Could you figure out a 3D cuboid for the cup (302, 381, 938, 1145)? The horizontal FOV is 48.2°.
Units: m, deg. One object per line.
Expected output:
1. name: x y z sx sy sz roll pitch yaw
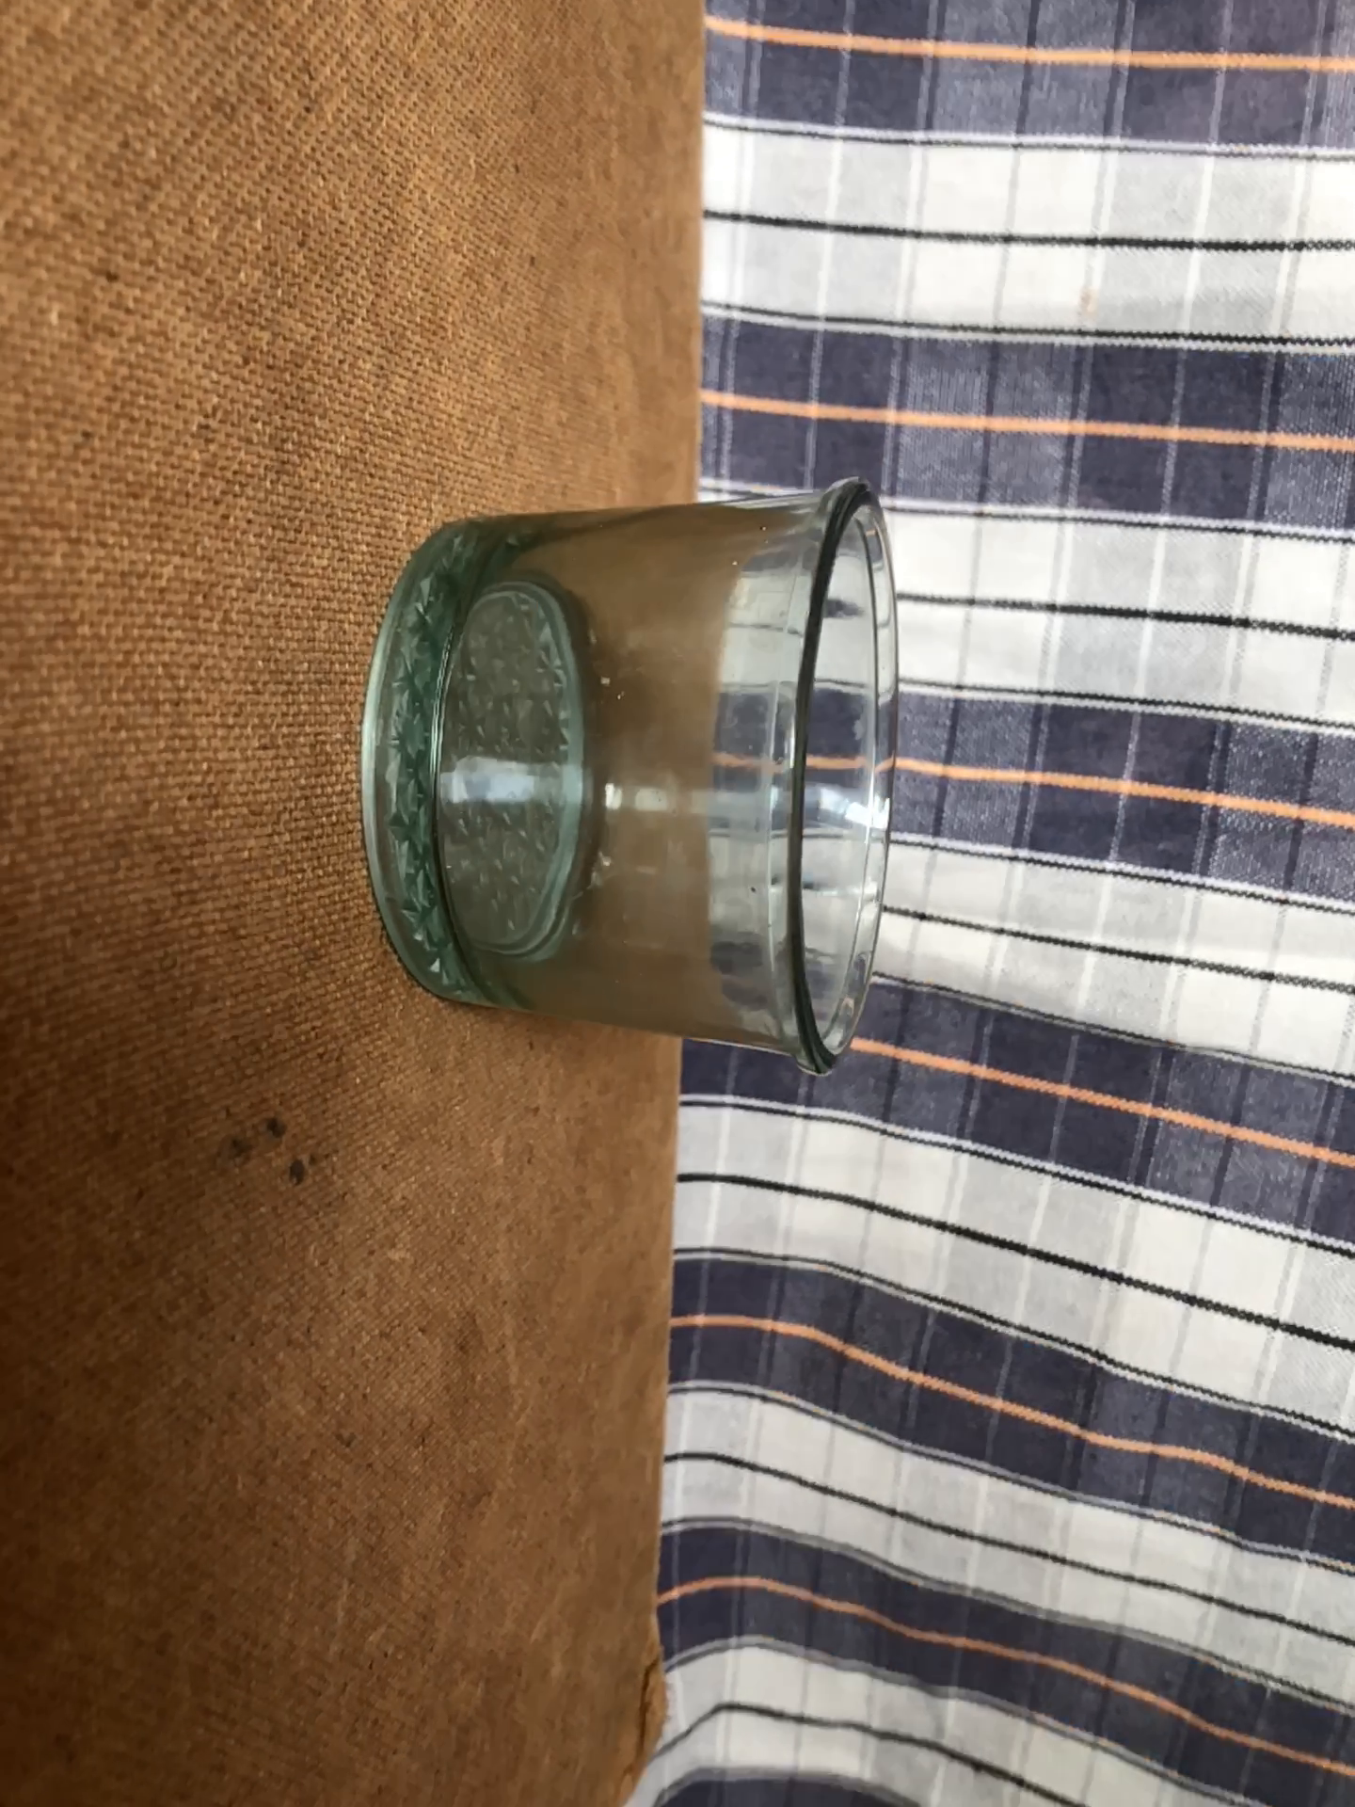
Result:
1. cup: 0.000 -0.016 0.211 0.070 0.060 0.080 57 39 -66
